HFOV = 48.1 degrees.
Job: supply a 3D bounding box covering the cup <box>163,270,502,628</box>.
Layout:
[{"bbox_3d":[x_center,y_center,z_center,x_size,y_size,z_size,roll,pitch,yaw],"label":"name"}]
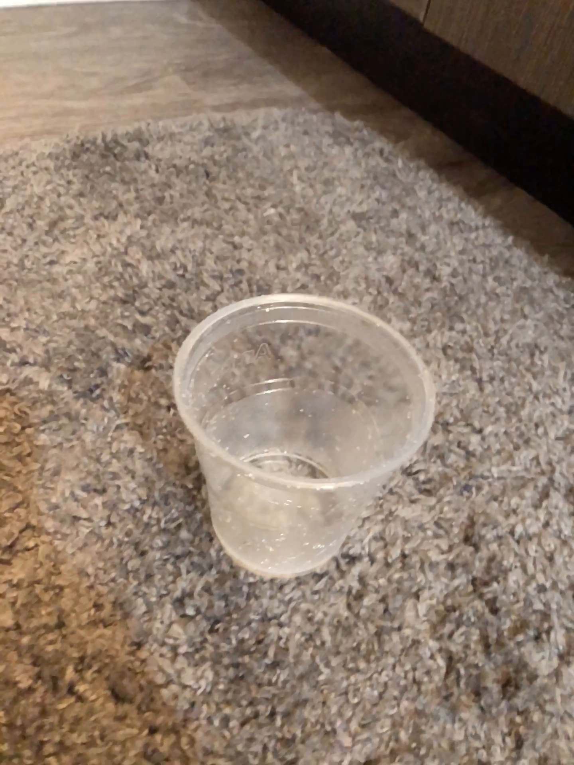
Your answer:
[{"bbox_3d":[0.004,0.022,0.239,0.090,0.090,0.090,6,46,-6],"label":"cup"}]
